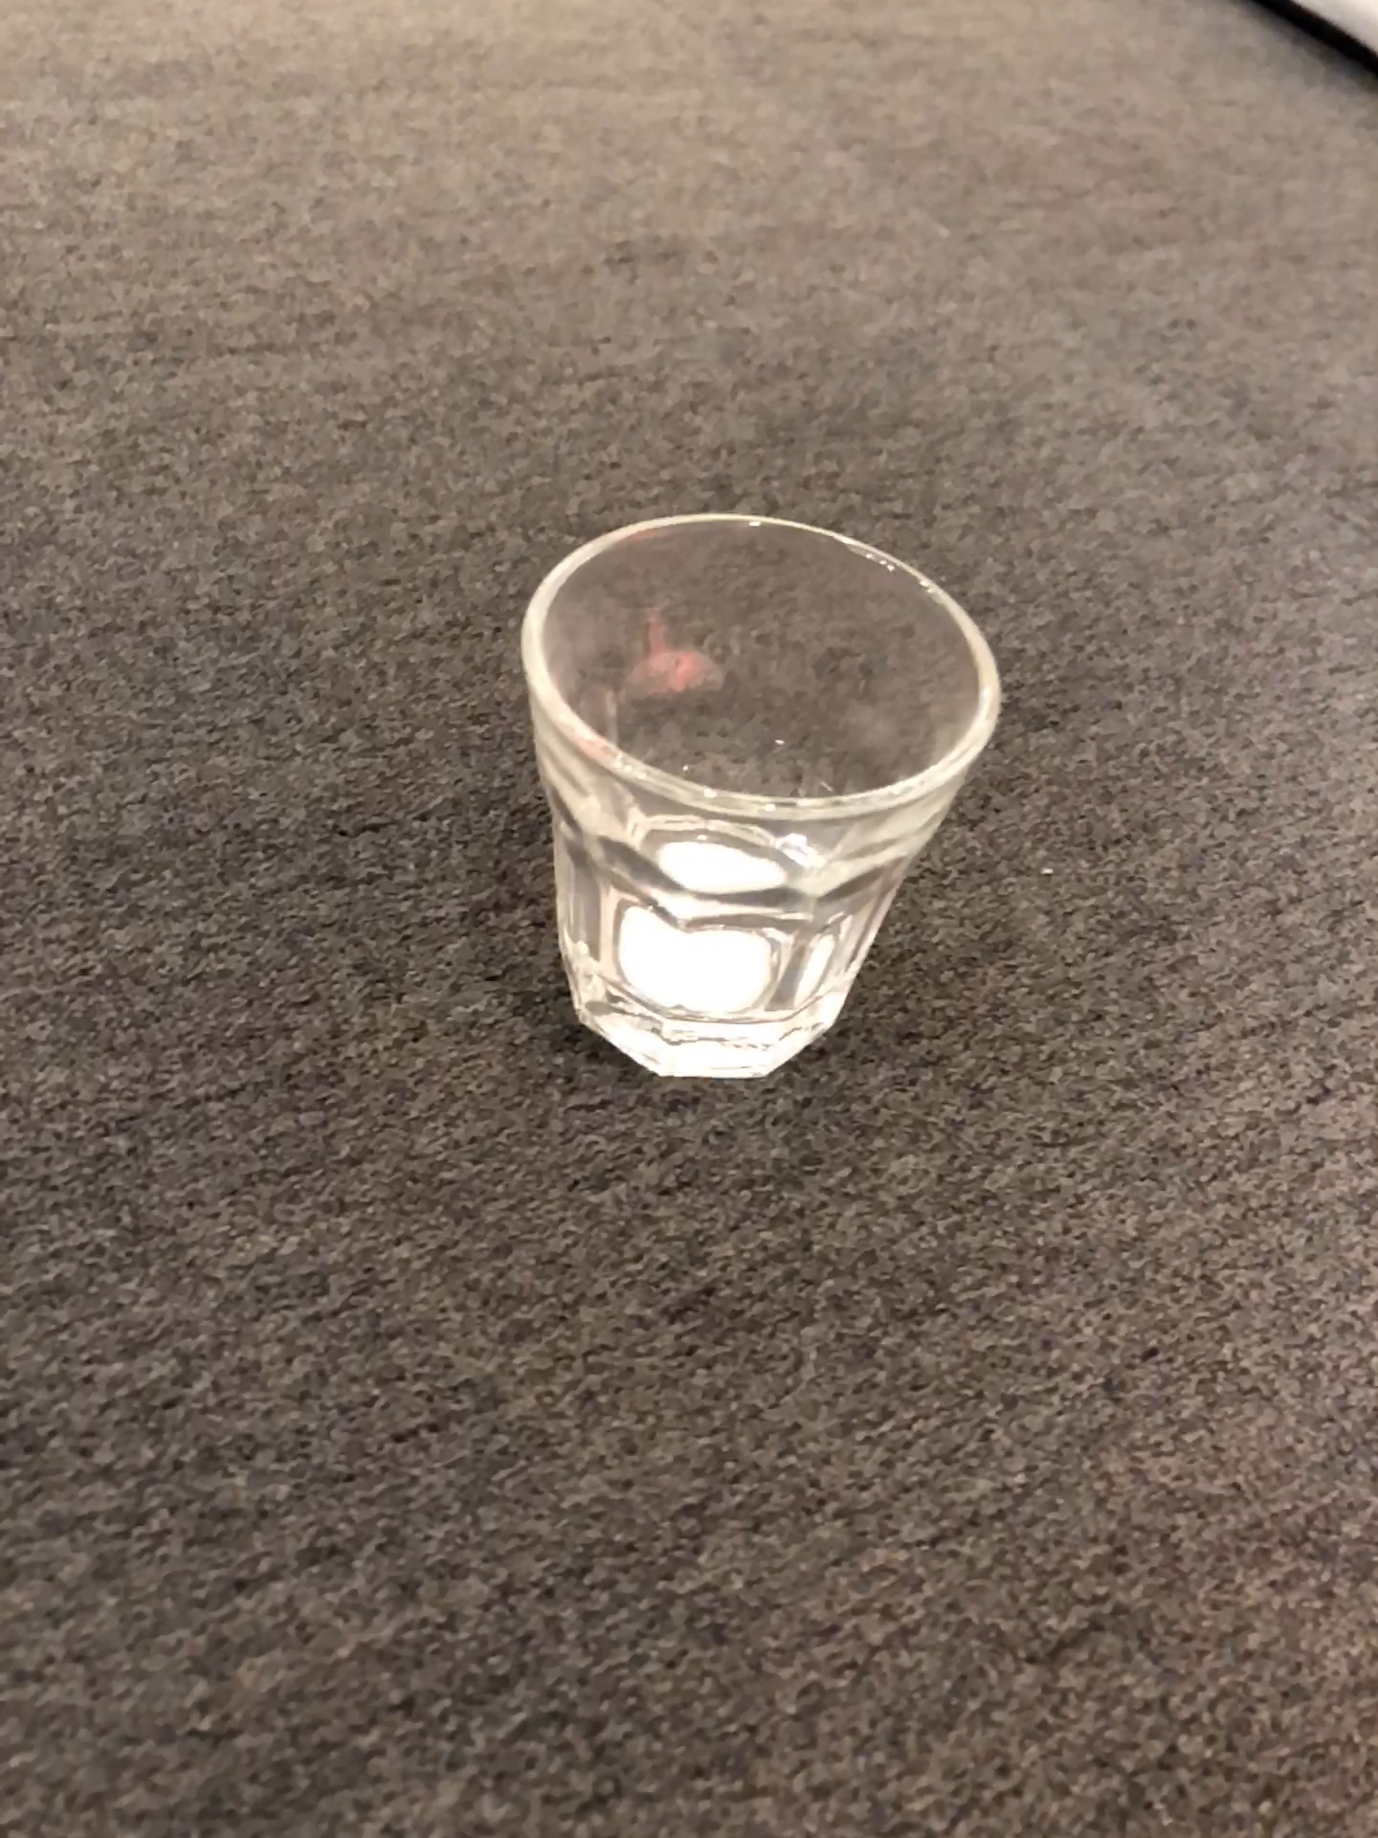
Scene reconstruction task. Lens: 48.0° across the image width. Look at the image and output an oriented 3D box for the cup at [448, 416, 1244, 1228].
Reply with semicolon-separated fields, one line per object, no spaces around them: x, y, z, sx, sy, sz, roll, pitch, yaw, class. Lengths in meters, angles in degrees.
0.016;-0.014;0.181;0.060;0.050;0.060;6;46;-7;cup
